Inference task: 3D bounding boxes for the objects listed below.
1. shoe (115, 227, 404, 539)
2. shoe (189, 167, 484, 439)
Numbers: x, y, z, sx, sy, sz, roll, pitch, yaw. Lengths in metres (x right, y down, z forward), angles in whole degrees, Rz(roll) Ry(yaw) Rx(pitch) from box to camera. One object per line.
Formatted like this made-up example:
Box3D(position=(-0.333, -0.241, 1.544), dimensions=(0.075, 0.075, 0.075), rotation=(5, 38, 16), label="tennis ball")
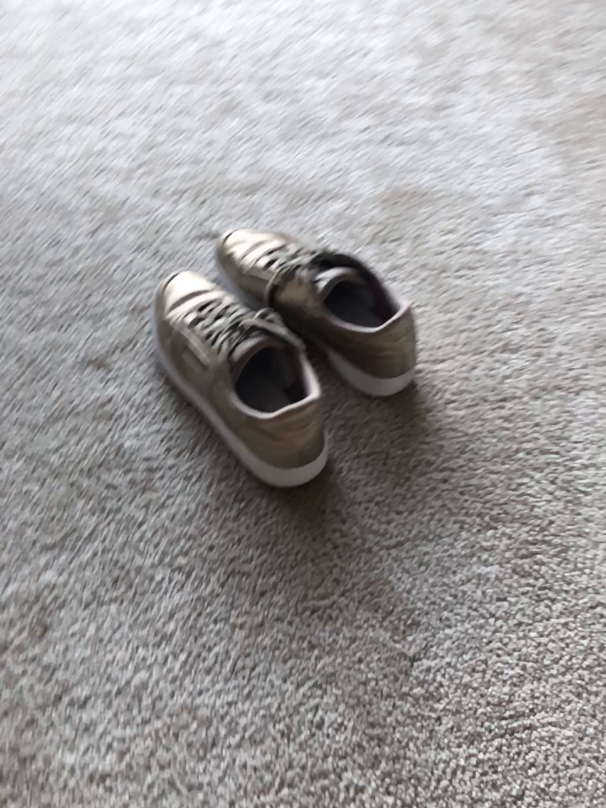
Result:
Box3D(position=(-0.048, -0.032, 0.595), dimensions=(0.110, 0.070, 0.280), rotation=(-28, 60, -22), label="shoe")
Box3D(position=(0.021, -0.107, 0.637), dimensions=(0.110, 0.070, 0.280), rotation=(-33, 62, -24), label="shoe")
